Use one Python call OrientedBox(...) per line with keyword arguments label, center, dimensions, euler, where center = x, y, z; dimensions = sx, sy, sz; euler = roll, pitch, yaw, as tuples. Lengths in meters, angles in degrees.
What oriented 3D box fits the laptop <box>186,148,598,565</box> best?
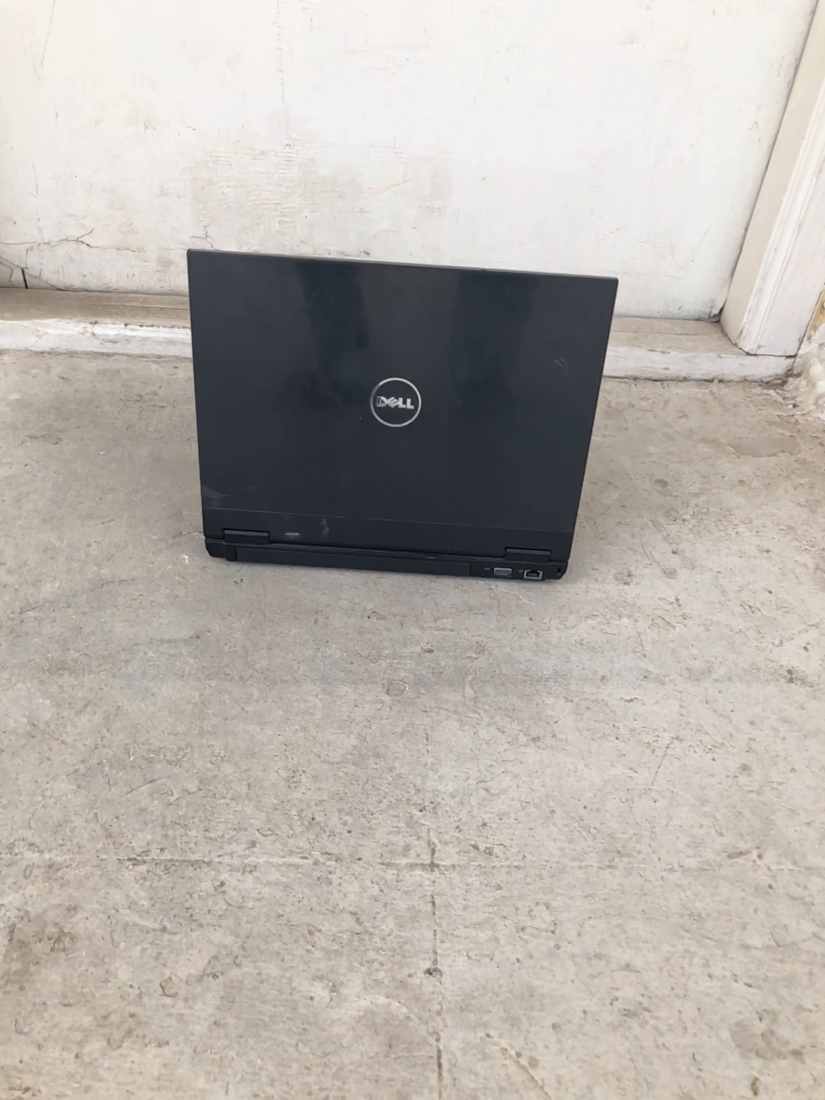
OrientedBox(label="laptop", center=(-0.014, -0.165, 0.774), dimensions=(0.279, 0.251, 0.226), euler=(4, 43, 0))
